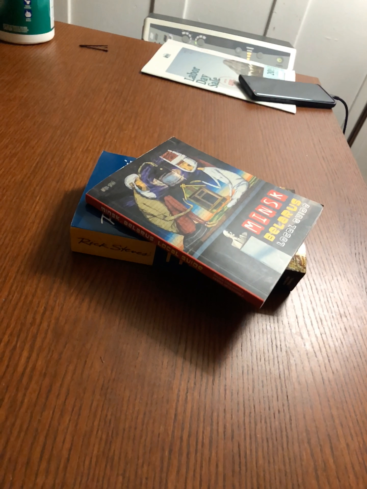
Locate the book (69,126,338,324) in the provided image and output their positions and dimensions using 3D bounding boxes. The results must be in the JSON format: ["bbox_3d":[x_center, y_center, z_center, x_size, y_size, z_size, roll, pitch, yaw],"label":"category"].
[{"bbox_3d":[0.025,-0.035,0.357,0.190,0.020,0.151,29,44,15],"label":"book"}]

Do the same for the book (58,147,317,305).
[{"bbox_3d":[0.007,-0.023,0.398,0.220,0.040,0.131,11,42,-4],"label":"book"}]
